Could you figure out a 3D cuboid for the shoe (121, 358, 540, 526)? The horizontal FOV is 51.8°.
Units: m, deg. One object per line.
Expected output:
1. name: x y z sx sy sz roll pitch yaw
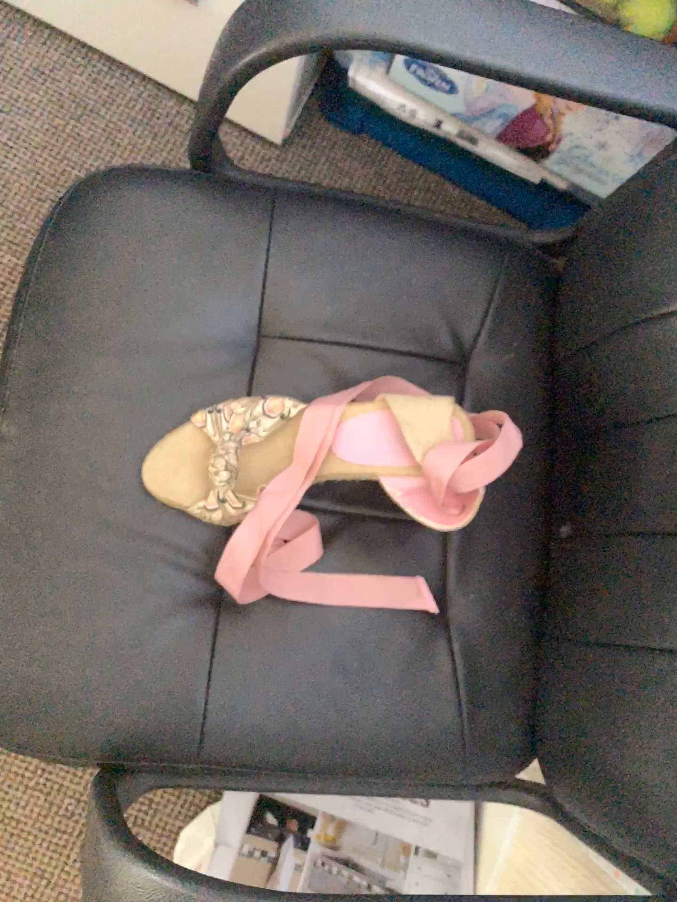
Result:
1. shoe: -0.011 0.002 0.518 0.270 0.140 0.100 0 82 -11
